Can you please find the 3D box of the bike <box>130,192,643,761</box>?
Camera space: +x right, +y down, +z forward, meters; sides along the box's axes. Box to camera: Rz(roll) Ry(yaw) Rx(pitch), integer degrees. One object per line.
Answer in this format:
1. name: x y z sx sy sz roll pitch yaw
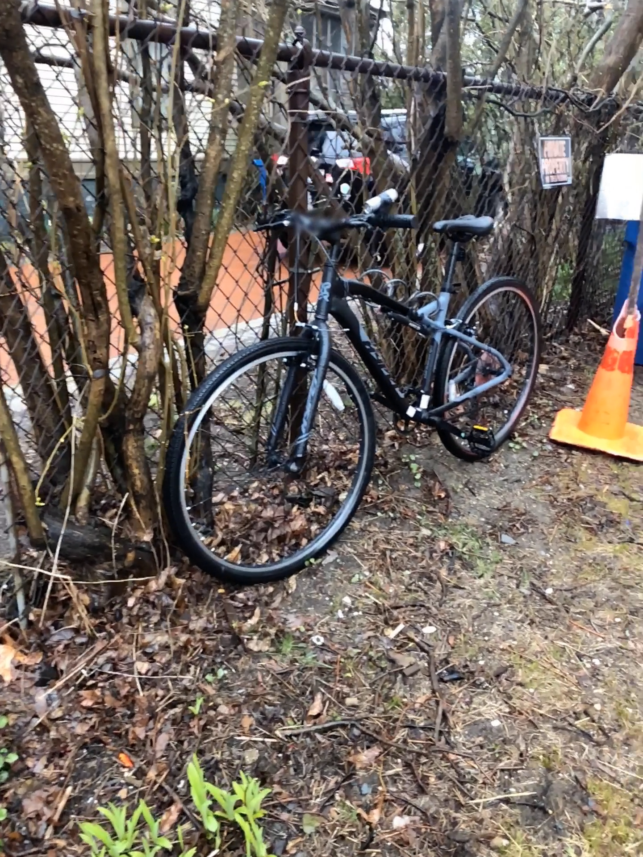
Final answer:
1. bike: 0.354 -0.079 2.337 0.537 1.067 1.892 20 33 39
